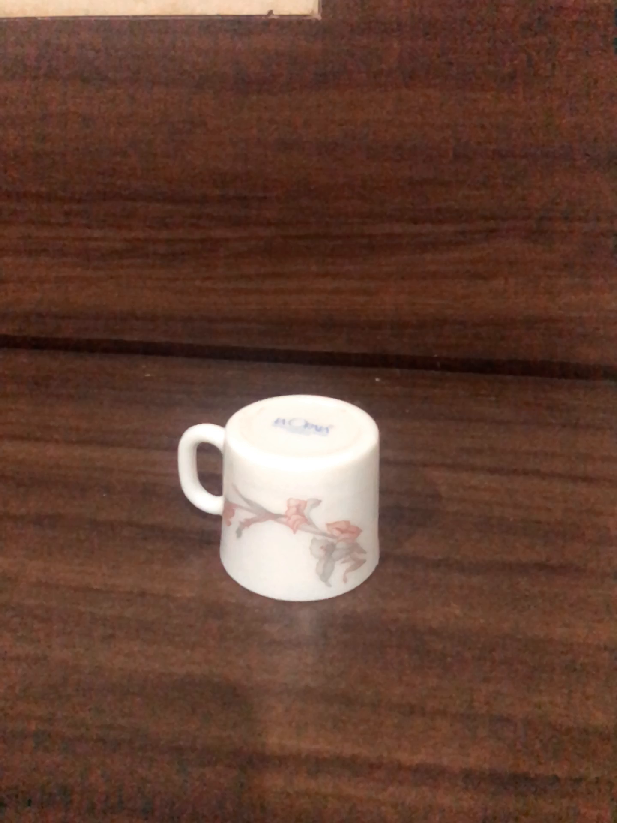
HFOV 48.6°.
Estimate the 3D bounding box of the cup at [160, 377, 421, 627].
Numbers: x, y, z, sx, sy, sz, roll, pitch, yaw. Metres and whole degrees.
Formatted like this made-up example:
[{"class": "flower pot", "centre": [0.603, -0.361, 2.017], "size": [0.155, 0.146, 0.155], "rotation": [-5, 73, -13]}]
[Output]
[{"class": "cup", "centre": [-0.004, 0.034, 0.286], "size": [0.090, 0.070, 0.060], "rotation": [7, 29, 14]}]
